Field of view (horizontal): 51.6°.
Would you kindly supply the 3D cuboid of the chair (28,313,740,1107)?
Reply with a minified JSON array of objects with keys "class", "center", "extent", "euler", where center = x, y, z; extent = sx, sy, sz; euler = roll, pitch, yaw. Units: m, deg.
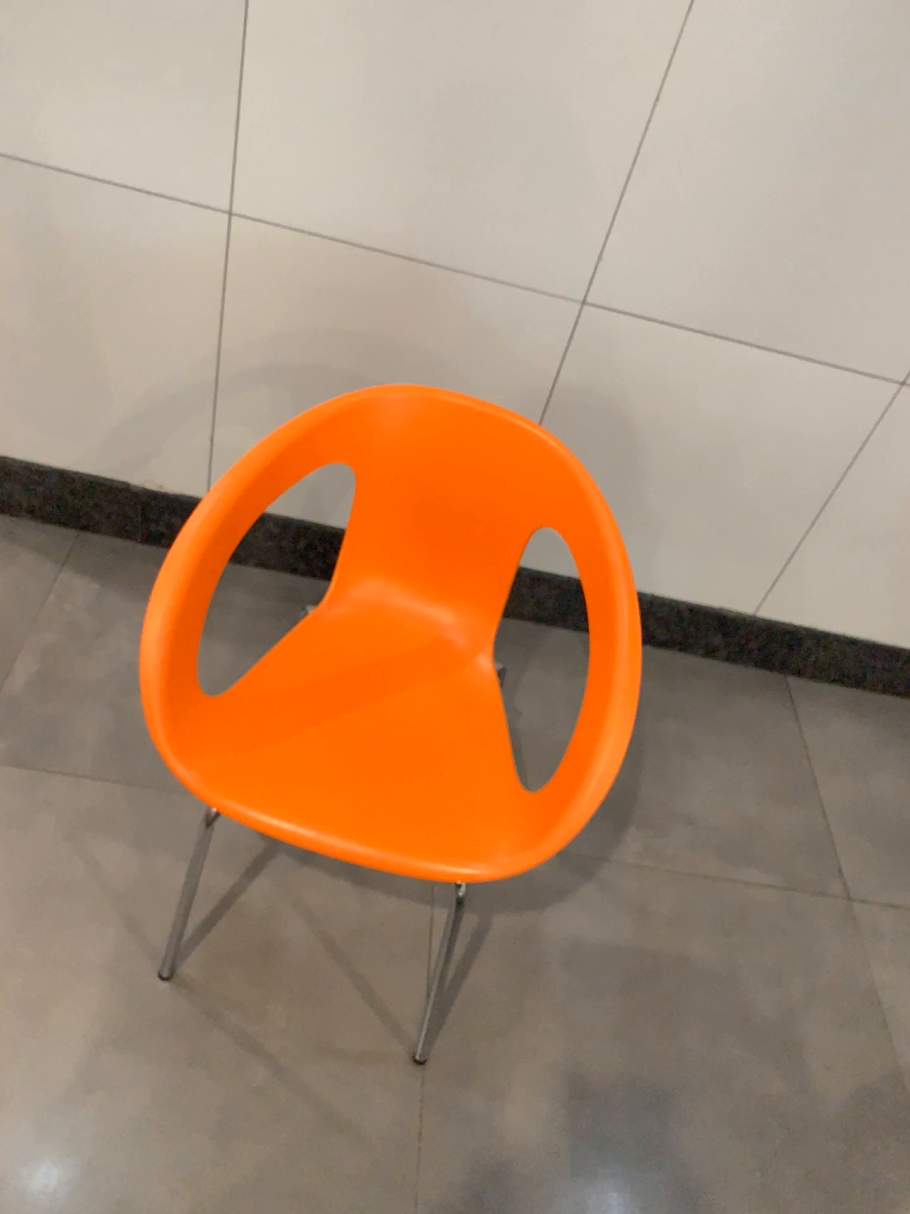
[{"class":"chair","center":[-0.078,0.135,1.291],"extent":[0.660,0.665,0.645],"euler":[18,42,-1]}]
